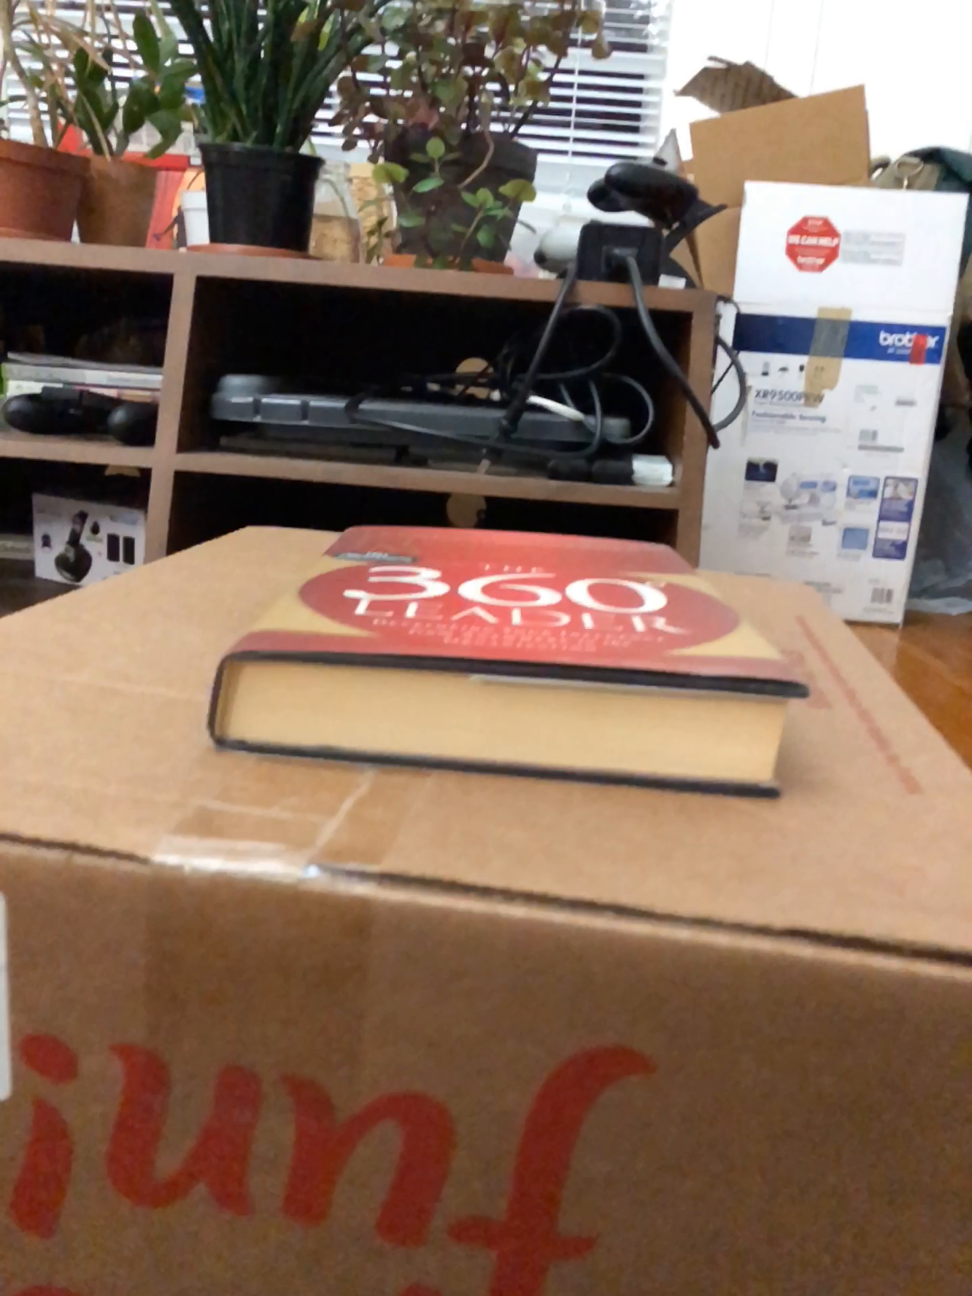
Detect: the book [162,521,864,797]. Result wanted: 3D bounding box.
[{"bbox_3d":[0.010,-0.011,0.393,0.180,0.030,0.241,4,14,1],"label":"book"}]
